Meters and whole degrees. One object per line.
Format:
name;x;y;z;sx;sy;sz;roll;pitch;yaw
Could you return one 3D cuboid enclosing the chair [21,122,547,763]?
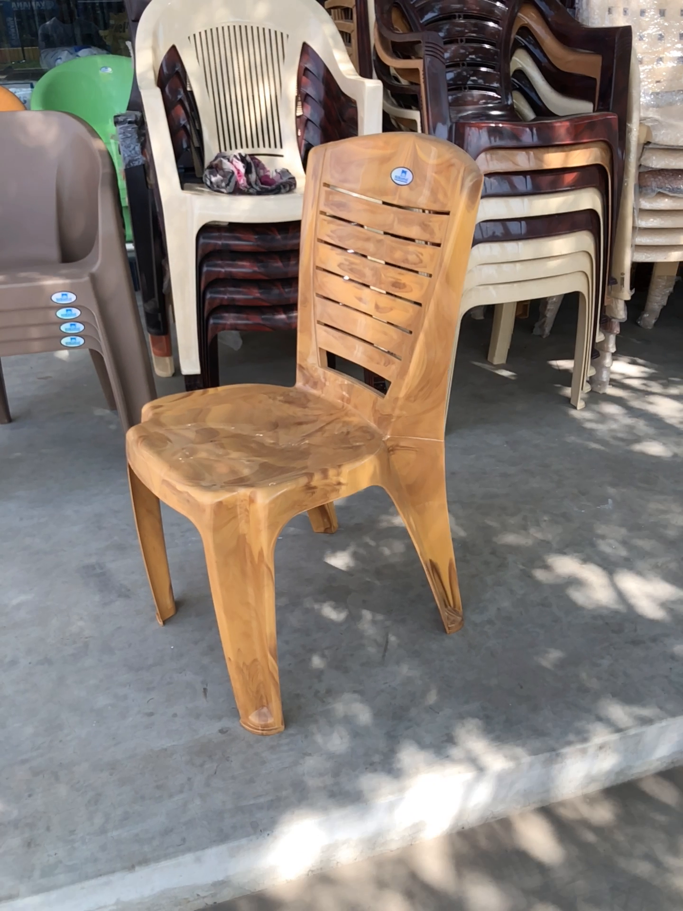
chair;-0.079;-0.079;1.255;0.562;0.816;0.501;-22;34;-33
